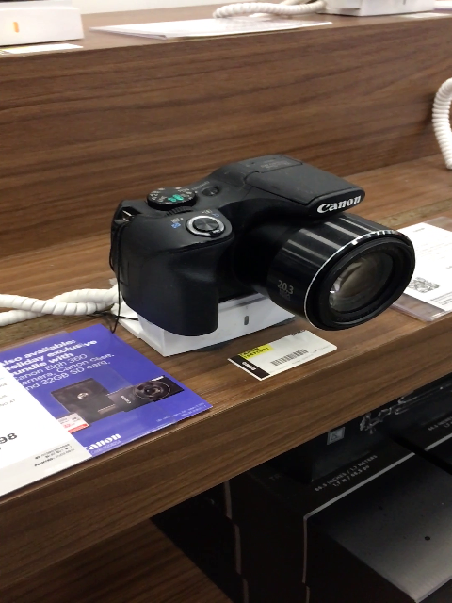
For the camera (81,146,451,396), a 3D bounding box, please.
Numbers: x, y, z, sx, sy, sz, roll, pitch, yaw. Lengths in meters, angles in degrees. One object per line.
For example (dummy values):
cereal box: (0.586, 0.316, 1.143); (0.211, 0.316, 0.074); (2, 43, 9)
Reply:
camera: (0.019, -0.023, 0.301); (0.131, 0.075, 0.092); (-20, 38, -26)
